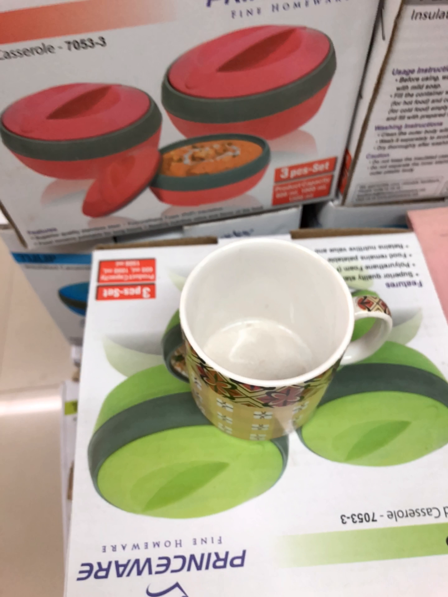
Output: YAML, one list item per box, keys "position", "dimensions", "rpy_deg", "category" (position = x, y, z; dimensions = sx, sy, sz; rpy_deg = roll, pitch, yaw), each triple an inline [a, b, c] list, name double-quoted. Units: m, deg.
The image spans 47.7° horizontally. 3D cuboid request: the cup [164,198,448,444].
- position: [0.032, 0.013, 0.245]
  dimensions: [0.110, 0.080, 0.080]
  rpy_deg: [-5, 57, -3]
  category: "cup"
